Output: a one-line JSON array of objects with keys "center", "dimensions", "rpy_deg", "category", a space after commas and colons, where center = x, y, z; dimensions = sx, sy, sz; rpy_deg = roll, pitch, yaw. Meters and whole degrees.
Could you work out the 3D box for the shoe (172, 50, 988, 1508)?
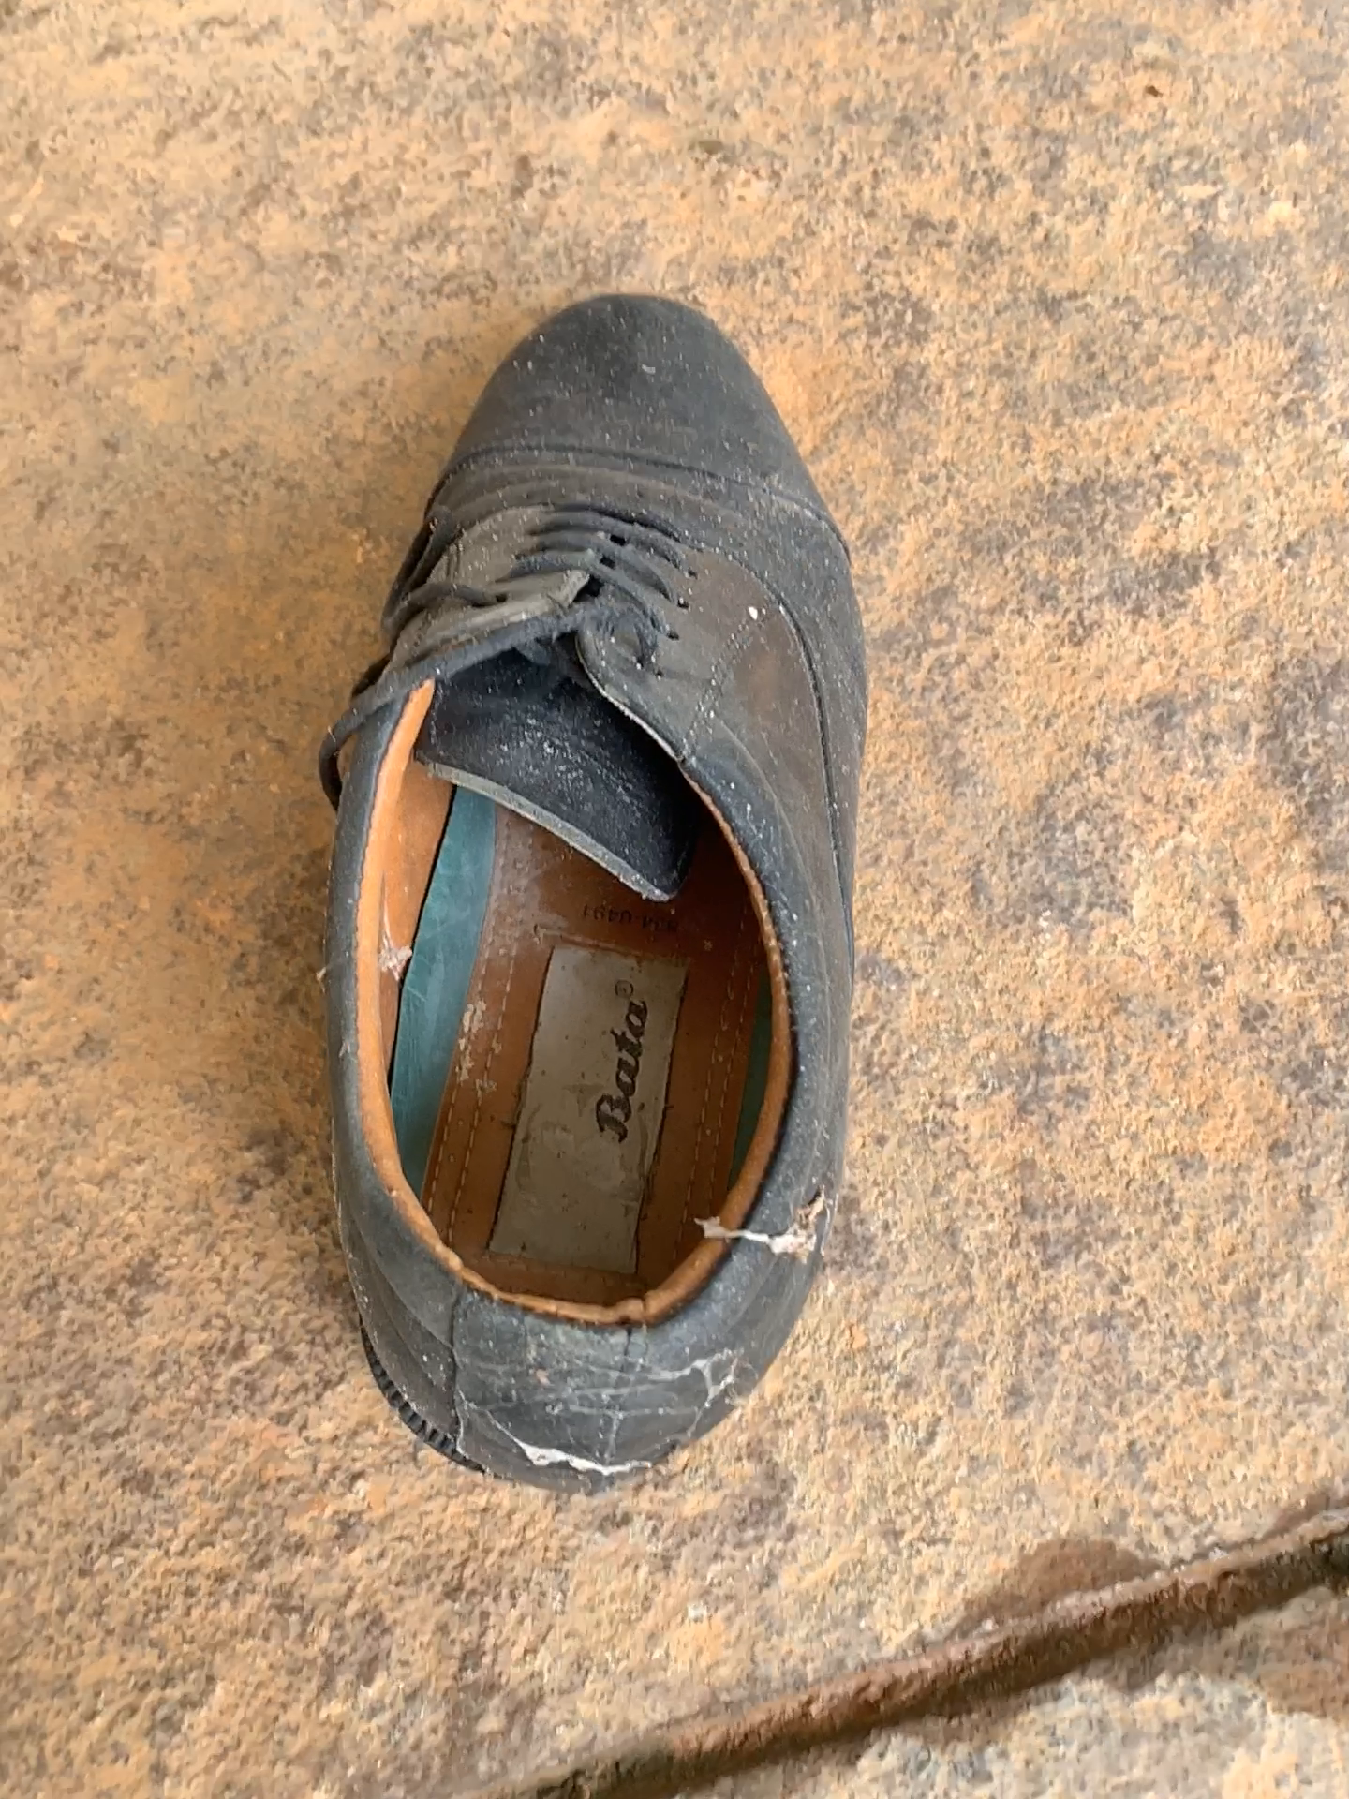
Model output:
[{"center": [-0.006, -0.034, 0.269], "dimensions": [0.100, 0.090, 0.270], "rpy_deg": [2, 64, 2], "category": "shoe"}]
